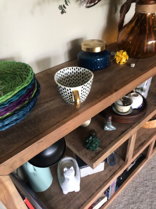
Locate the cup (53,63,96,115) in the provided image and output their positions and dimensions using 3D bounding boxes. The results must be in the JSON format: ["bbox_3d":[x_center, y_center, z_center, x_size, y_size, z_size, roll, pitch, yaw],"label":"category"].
[{"bbox_3d":[-0.010,-0.048,0.473,0.100,0.079,0.131,-4,37,-2],"label":"cup"}]
